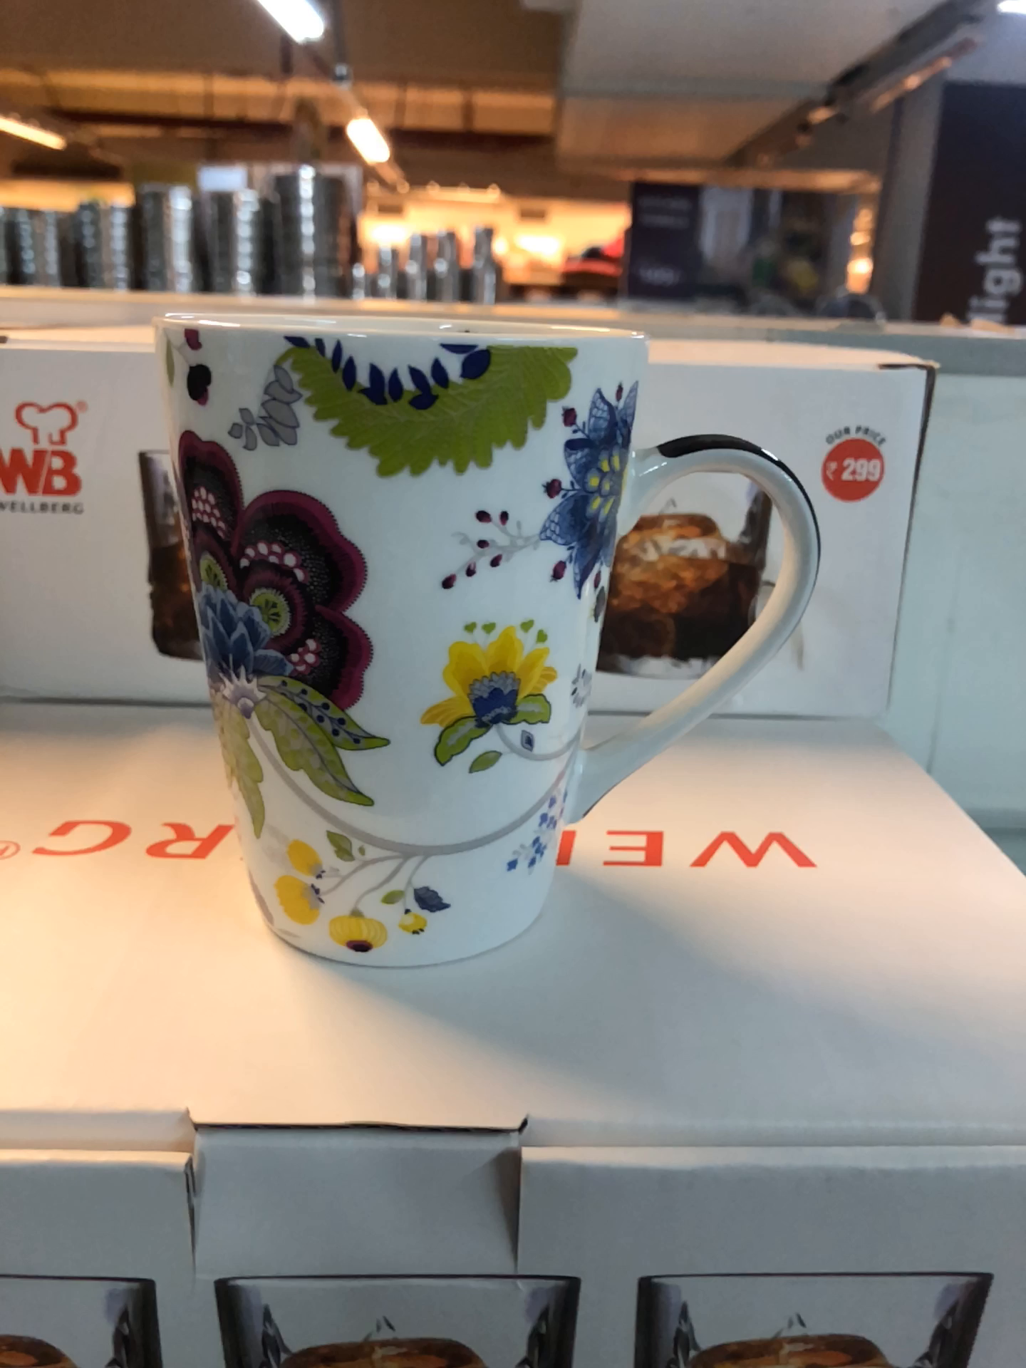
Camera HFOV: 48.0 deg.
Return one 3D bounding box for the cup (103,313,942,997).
[{"bbox_3d":[-0.005,-0.012,0.213,0.120,0.100,0.080,-1,18,-12],"label":"cup"}]
